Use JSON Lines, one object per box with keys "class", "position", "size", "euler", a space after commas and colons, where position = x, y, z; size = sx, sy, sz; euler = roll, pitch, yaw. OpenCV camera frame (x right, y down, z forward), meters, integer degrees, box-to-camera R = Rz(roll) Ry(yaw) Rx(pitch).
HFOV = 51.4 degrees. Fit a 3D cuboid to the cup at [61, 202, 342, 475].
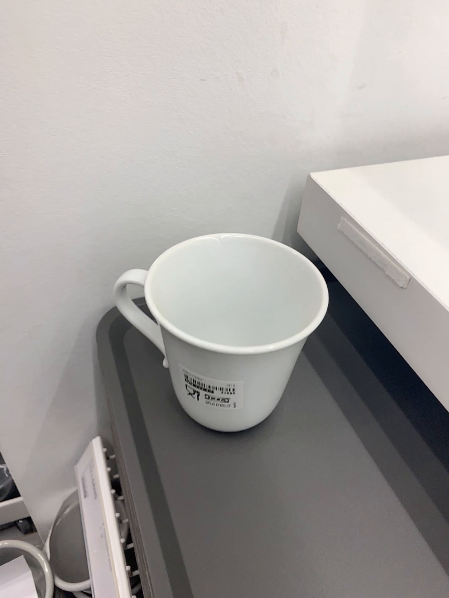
{"class": "cup", "position": [-0.007, 0.020, 0.287], "size": [0.130, 0.100, 0.100], "euler": [13, 41, 9]}
